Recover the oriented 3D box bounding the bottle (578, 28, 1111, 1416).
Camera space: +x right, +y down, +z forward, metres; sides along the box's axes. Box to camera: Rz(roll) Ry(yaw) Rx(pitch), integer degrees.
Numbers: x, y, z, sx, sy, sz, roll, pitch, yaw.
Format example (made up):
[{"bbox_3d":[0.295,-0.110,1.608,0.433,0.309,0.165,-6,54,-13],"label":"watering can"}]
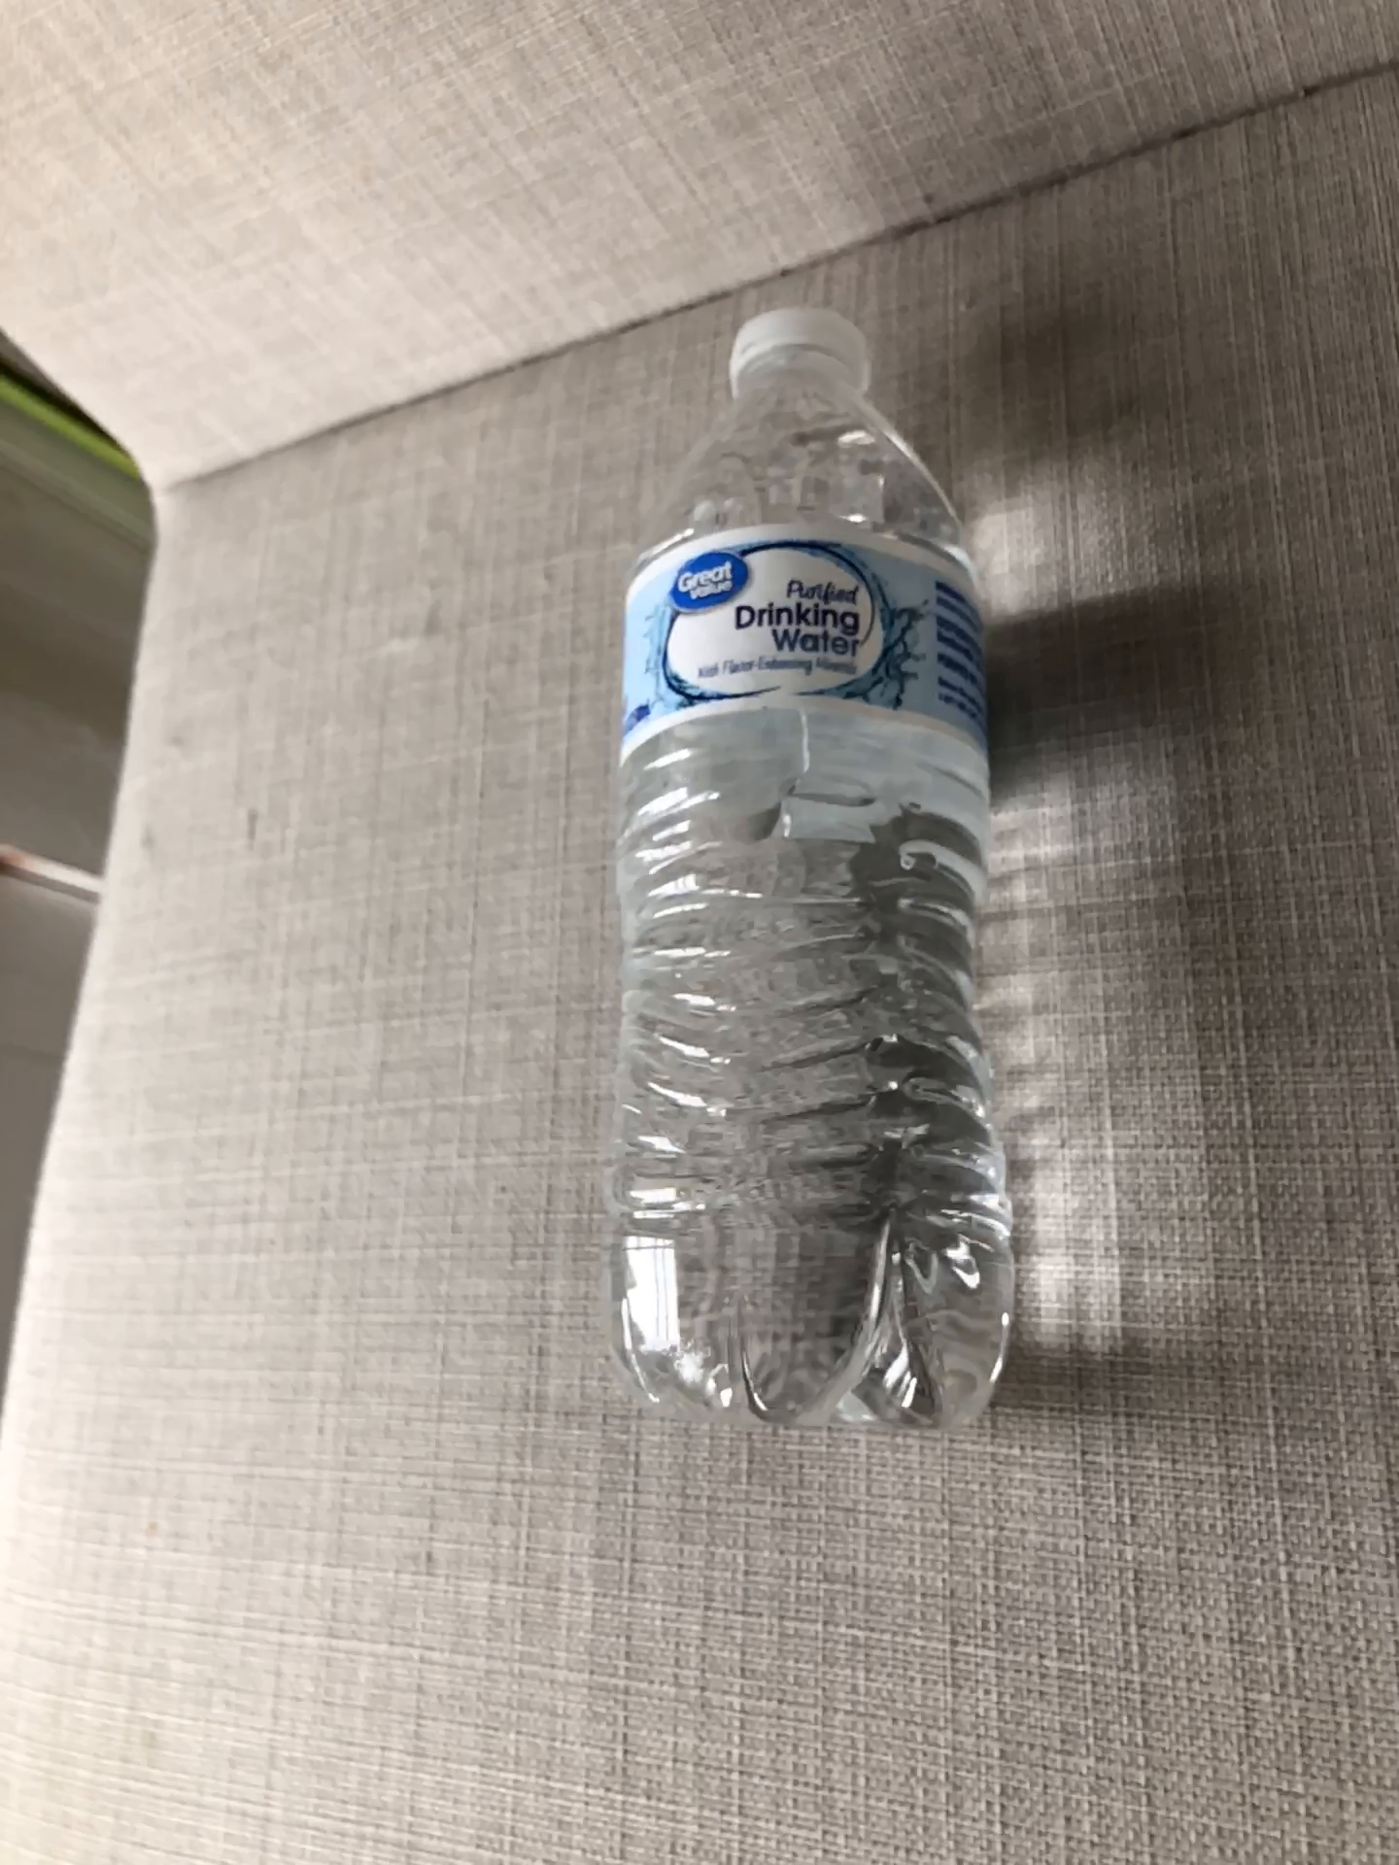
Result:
[{"bbox_3d":[0.017,-0.036,0.279,0.070,0.080,0.231,1,72,-4],"label":"bottle"}]
